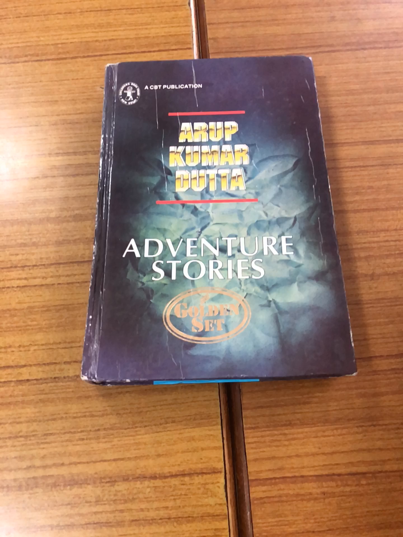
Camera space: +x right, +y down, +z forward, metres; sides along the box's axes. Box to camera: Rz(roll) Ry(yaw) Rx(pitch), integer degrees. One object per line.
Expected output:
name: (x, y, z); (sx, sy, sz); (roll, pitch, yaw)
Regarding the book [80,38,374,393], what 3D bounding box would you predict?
book: (0.010, -0.040, 0.275); (0.145, 0.036, 0.218); (-2, 71, 0)
